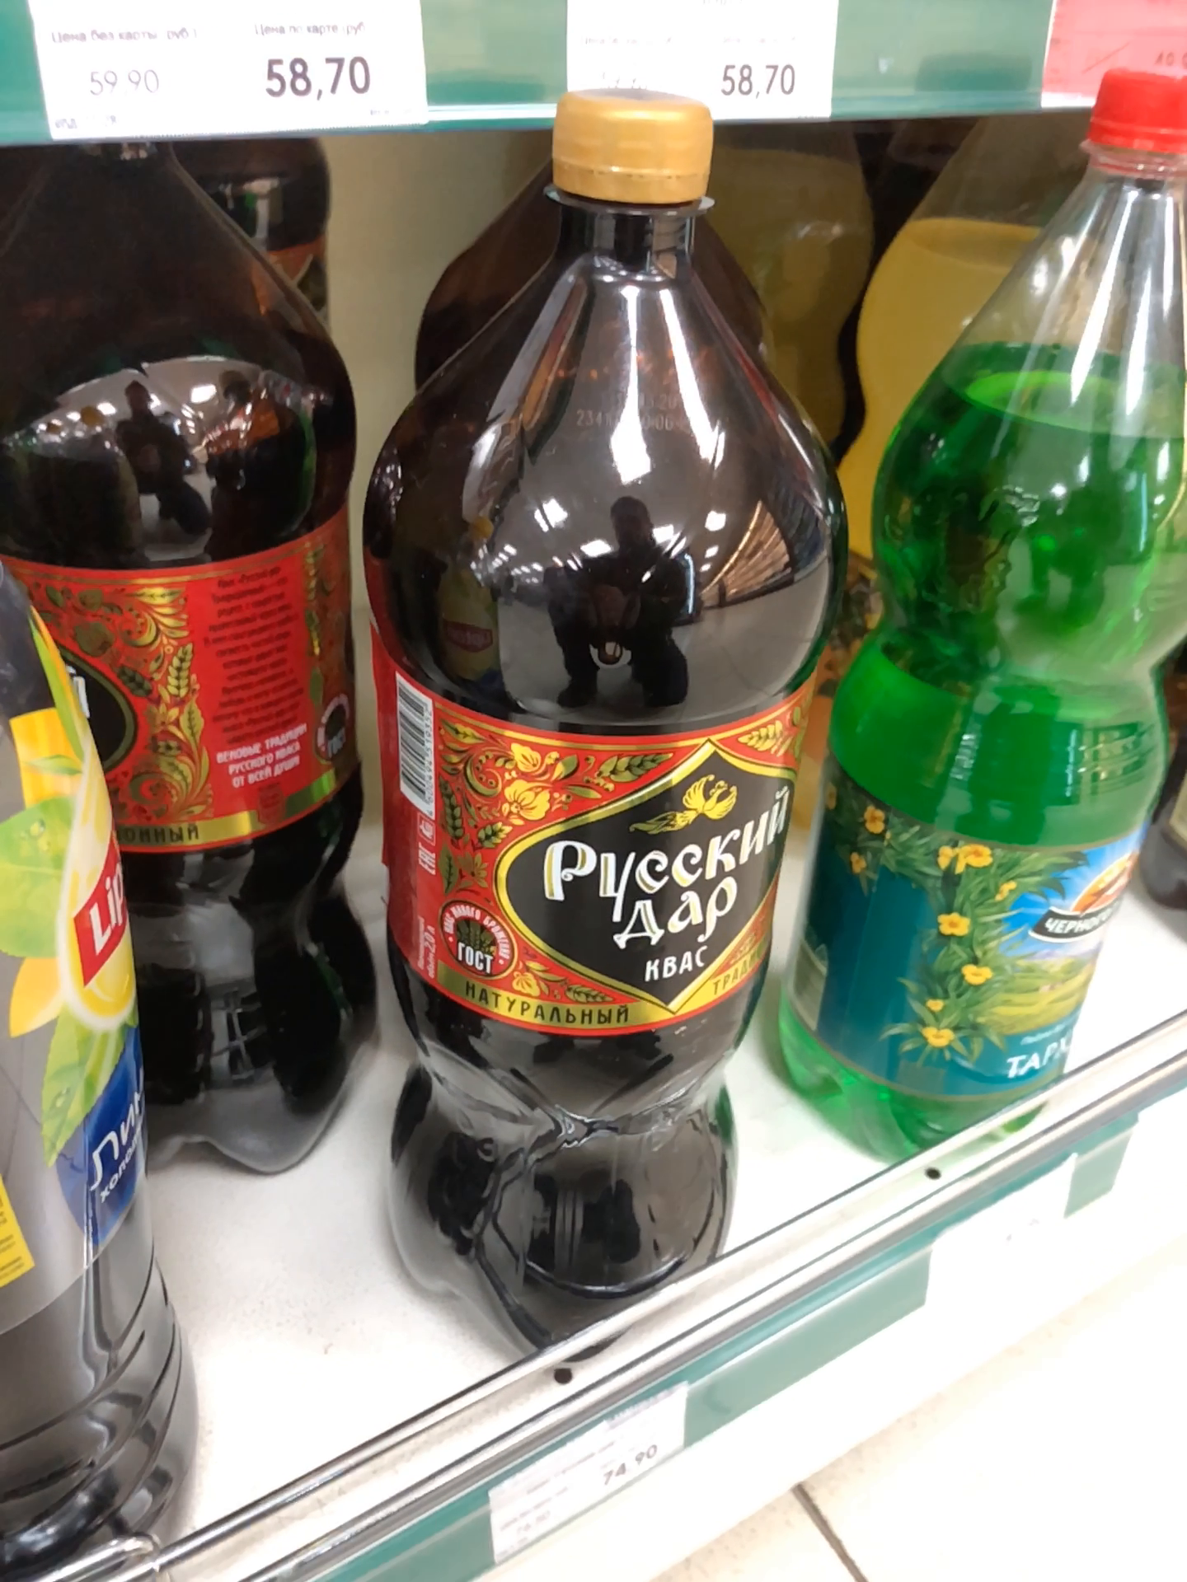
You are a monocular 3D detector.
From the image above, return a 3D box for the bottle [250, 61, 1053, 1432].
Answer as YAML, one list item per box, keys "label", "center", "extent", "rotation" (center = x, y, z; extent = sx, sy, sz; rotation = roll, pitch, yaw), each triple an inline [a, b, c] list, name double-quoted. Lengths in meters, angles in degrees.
- label: "bottle"
  center: [-0.002, 0.007, 0.331]
  extent: [0.110, 0.322, 0.100]
  rotation: [3, 35, -2]

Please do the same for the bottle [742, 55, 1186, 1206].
- label: "bottle"
  center: [0.129, -0.029, 0.396]
  extent: [0.099, 0.327, 0.085]
  rotation: [-15, 39, -24]
